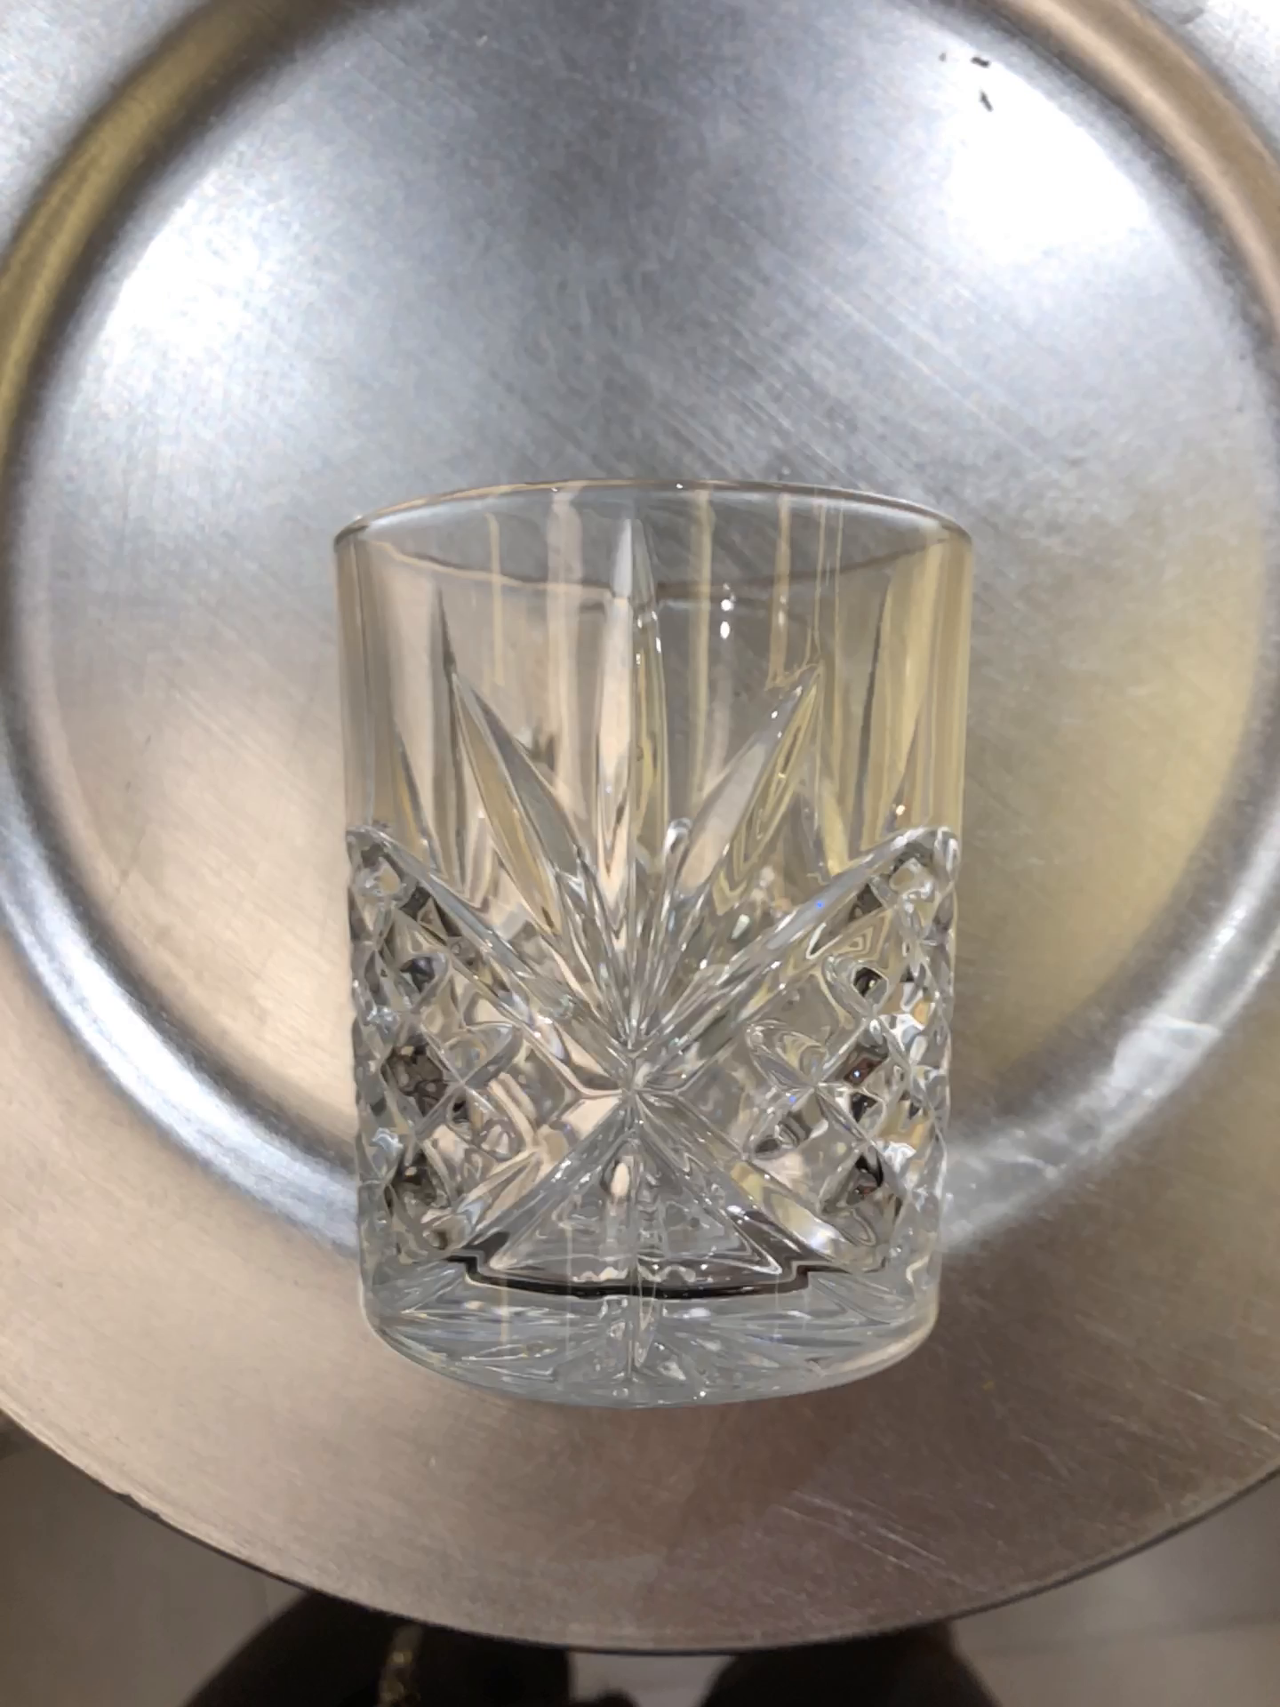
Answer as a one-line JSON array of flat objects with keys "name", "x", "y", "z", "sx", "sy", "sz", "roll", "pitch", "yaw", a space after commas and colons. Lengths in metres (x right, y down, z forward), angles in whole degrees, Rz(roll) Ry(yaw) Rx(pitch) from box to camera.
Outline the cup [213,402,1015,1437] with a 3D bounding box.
[{"name": "cup", "x": 0.000, "y": 0.006, "z": 0.174, "sx": 0.080, "sy": 0.060, "sz": 0.100, "roll": 0, "pitch": 91, "yaw": 7}]
